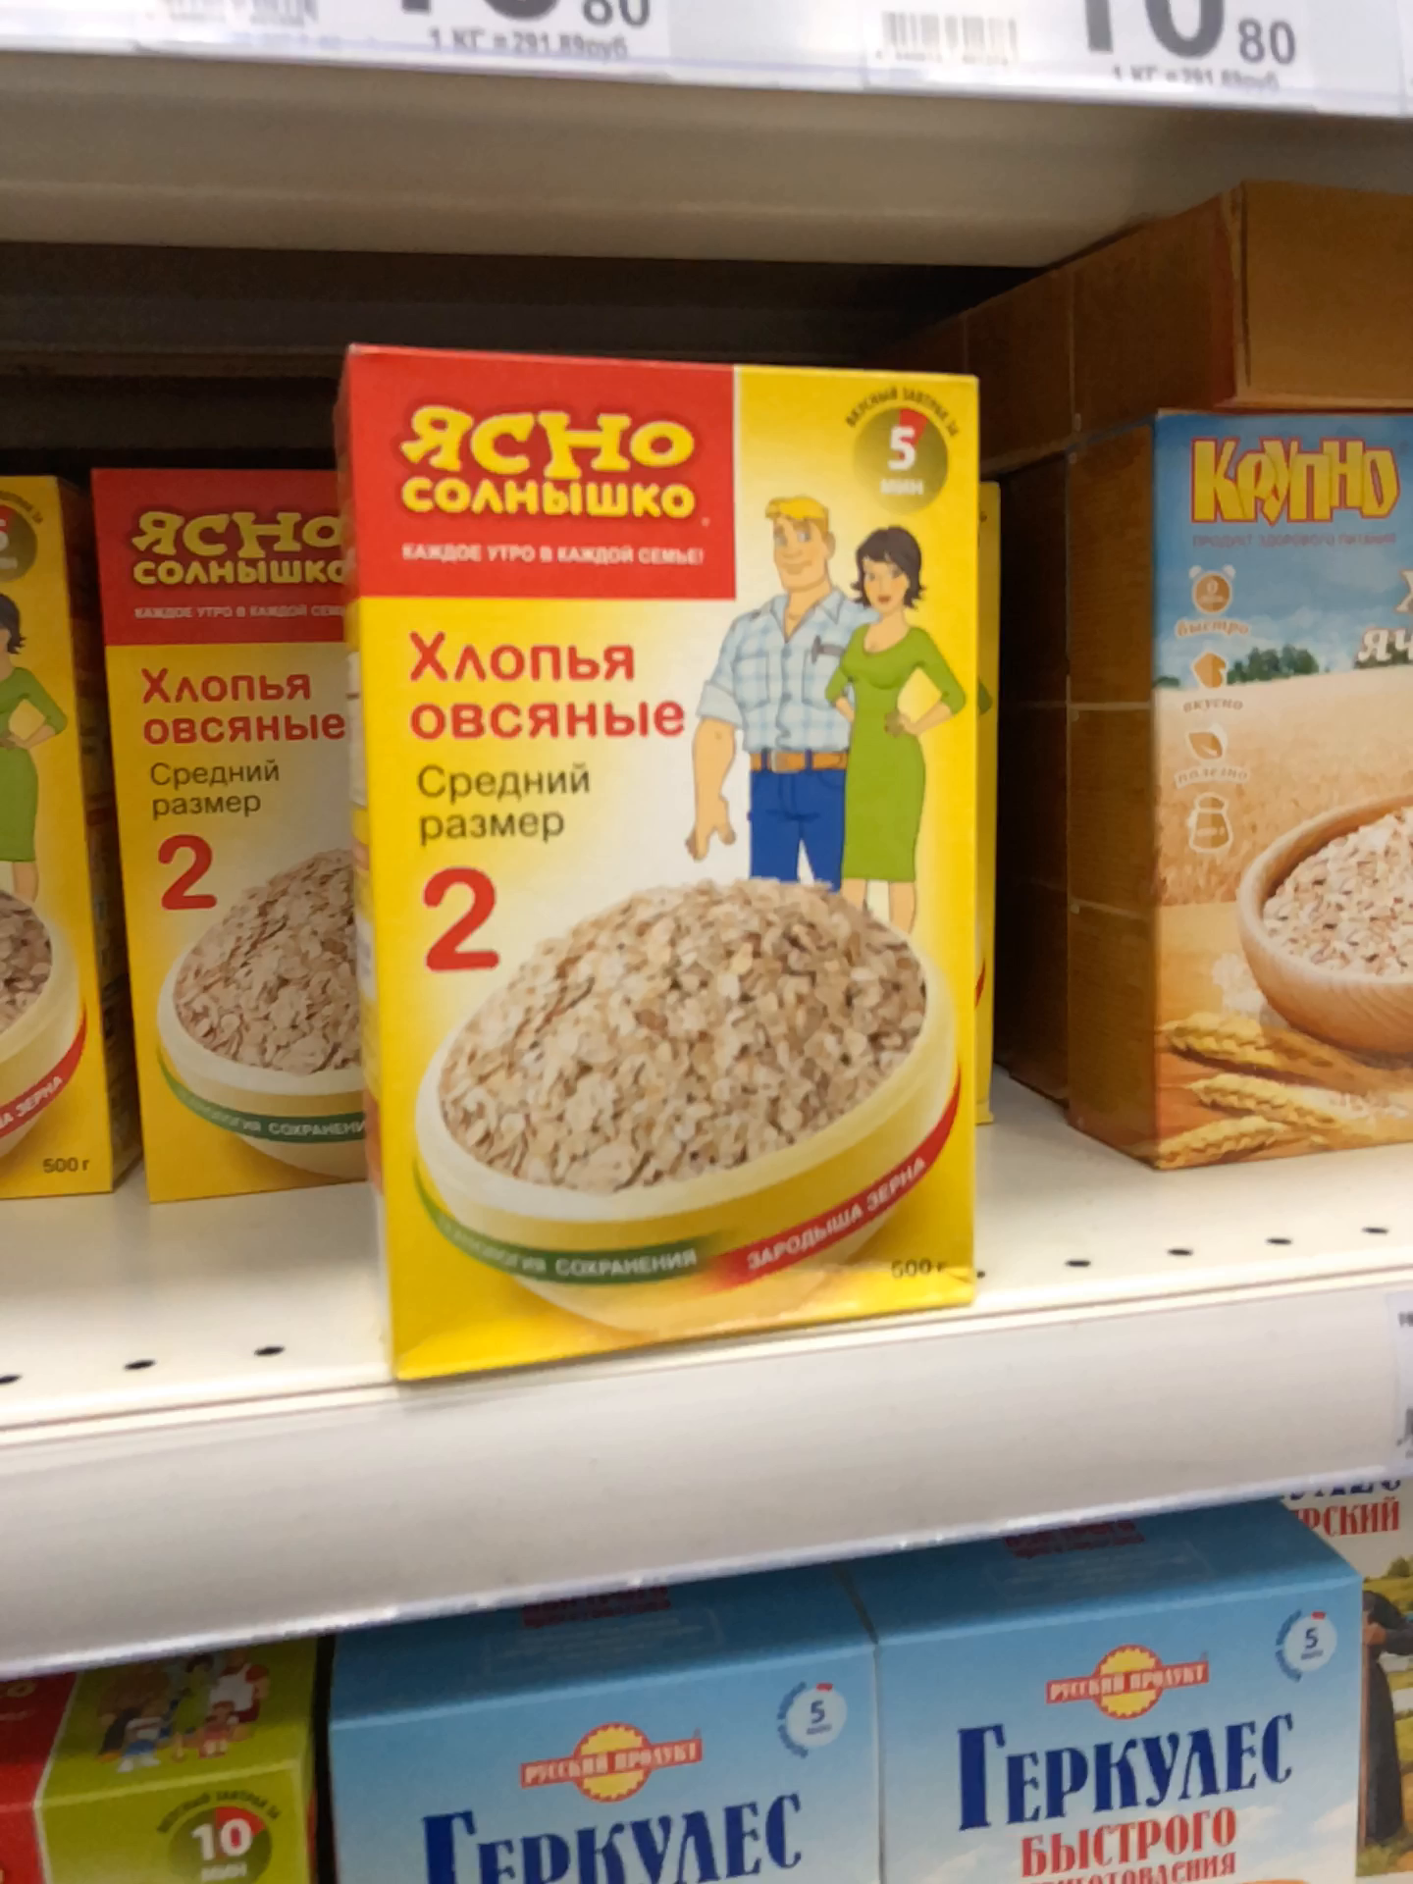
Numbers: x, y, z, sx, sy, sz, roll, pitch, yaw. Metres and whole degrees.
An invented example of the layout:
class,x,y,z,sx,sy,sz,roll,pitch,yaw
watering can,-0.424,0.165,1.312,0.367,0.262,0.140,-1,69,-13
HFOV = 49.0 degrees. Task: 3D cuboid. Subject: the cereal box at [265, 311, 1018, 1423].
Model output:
class,x,y,z,sx,sy,sz,roll,pitch,yaw
cereal box,-0.013,-0.017,0.312,0.130,0.190,0.070,-4,7,-13
